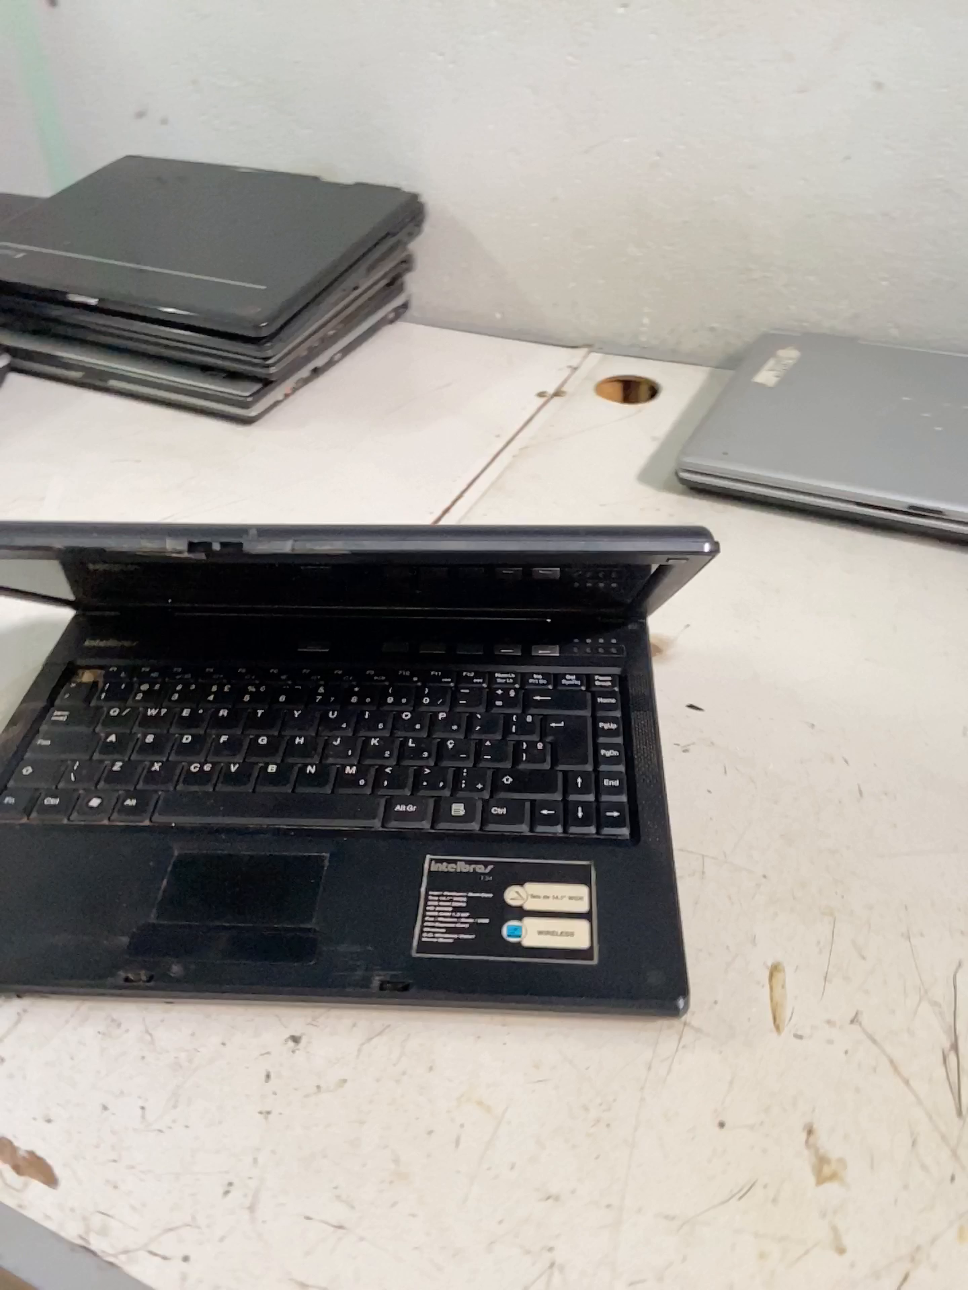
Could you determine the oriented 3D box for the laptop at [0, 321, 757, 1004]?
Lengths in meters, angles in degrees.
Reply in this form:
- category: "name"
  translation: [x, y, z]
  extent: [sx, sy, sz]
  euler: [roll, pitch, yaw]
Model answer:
- category: "laptop"
  translation: [-0.078, -0.008, 0.421]
  extent: [0.324, 0.168, 0.237]
  euler: [1, 39, 3]
